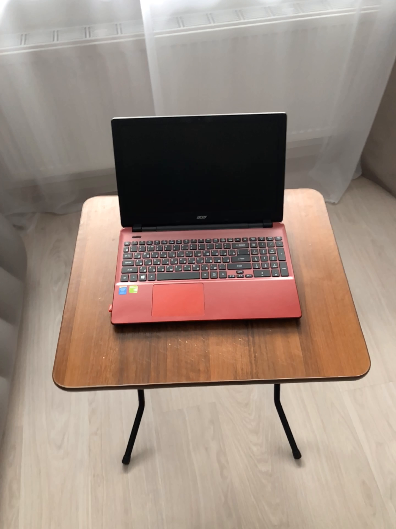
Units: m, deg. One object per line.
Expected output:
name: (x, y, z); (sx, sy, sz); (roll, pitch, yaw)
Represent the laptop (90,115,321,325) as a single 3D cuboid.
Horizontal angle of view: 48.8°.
laptop: (0.011, -0.099, 0.892); (0.371, 0.191, 0.382); (-2, 53, 1)
